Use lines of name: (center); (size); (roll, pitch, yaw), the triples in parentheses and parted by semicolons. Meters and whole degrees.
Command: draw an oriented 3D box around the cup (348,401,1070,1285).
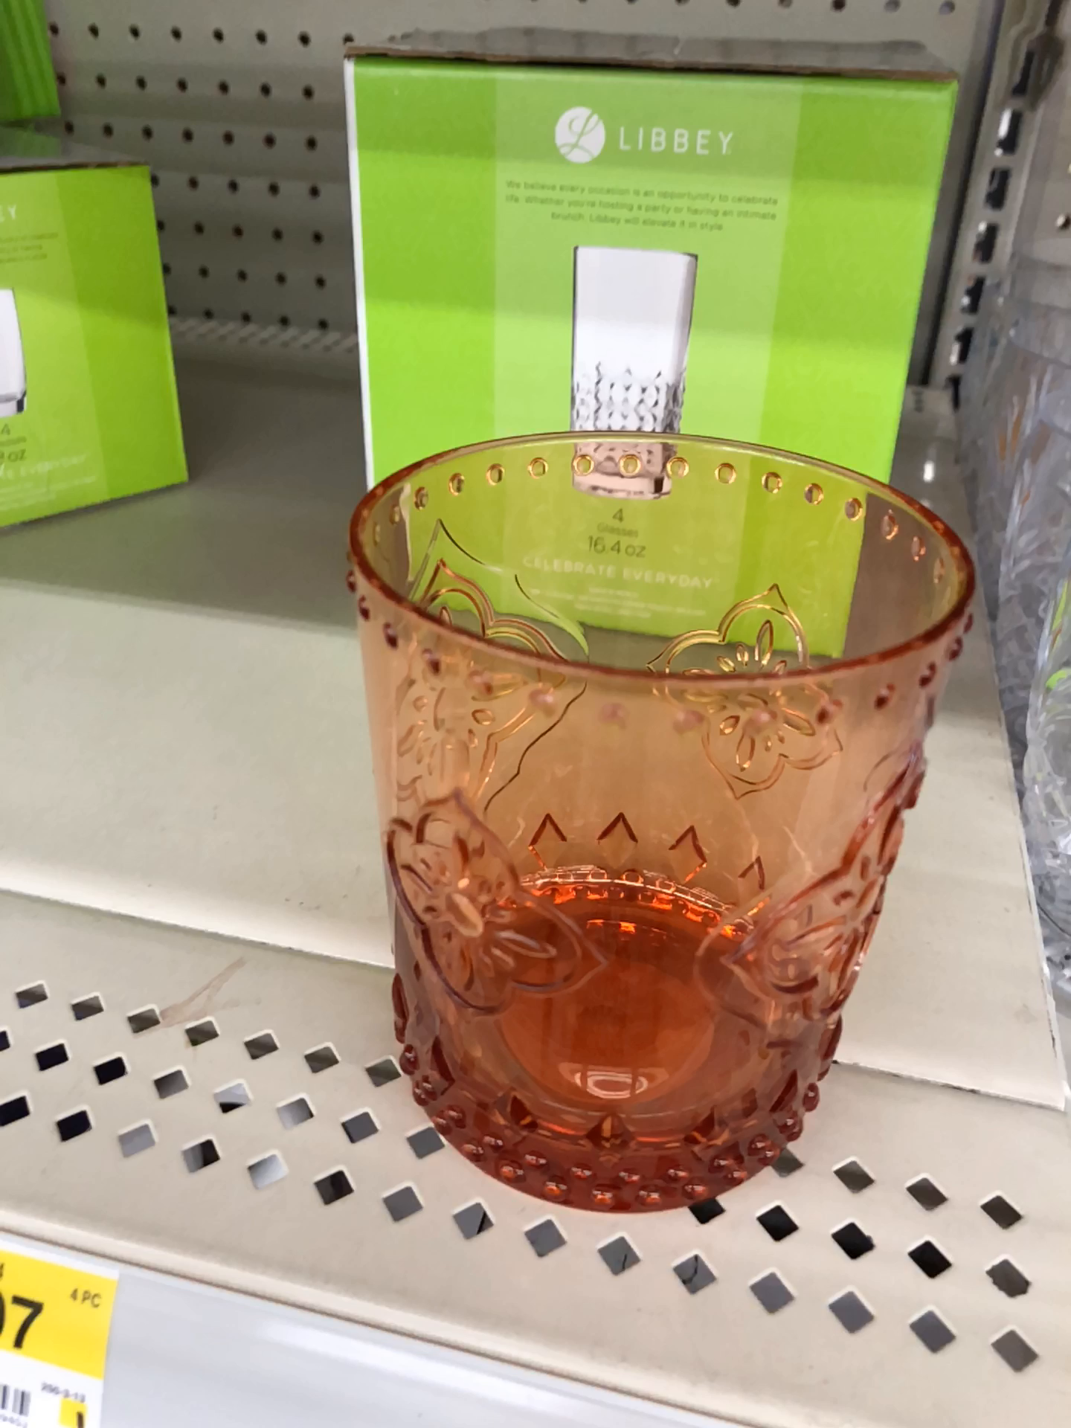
cup: (0.018, 0.016, 0.192); (0.090, 0.110, 0.080); (-2, 31, -8)
